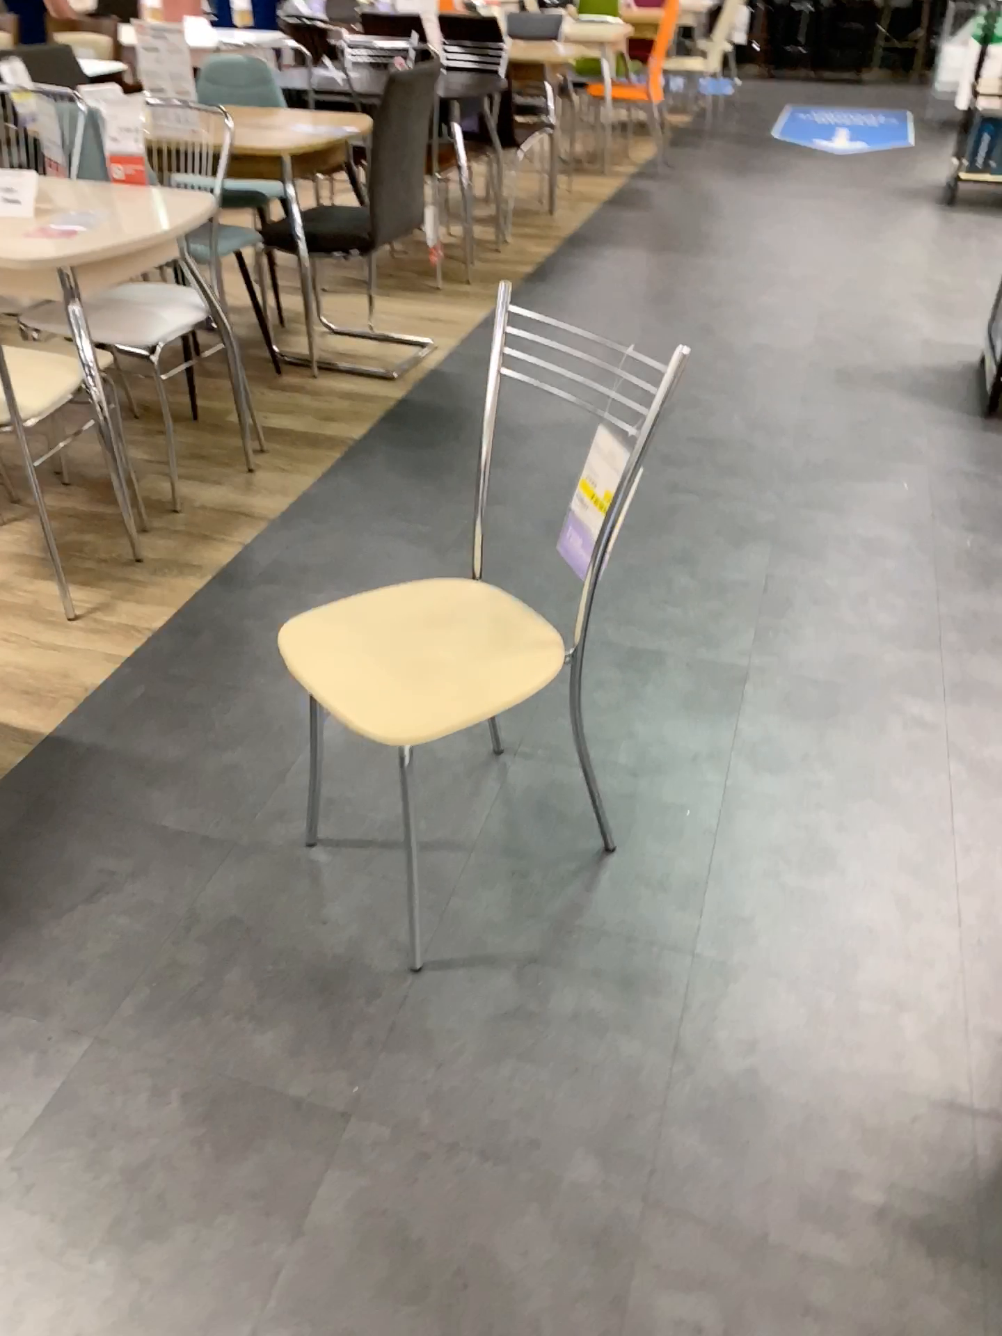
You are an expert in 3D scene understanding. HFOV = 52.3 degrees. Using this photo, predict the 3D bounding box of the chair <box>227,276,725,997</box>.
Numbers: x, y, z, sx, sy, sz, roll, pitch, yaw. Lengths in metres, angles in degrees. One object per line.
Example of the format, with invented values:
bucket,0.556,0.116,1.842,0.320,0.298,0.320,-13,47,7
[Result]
chair,-0.038,-0.045,1.554,0.481,0.905,0.412,-24,42,-30
